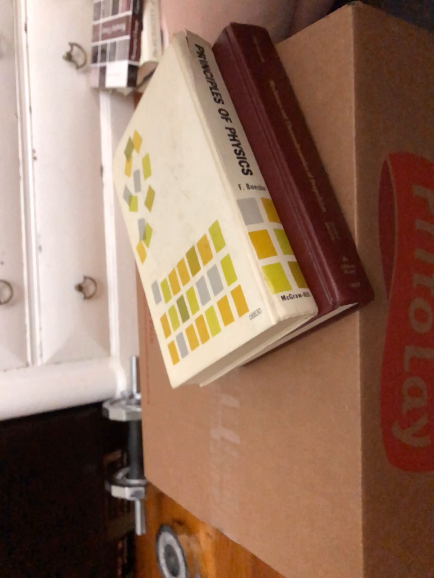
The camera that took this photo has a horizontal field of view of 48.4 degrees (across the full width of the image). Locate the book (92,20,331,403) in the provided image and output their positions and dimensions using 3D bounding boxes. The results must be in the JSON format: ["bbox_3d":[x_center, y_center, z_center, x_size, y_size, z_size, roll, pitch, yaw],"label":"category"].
[{"bbox_3d":[-0.028,-0.053,0.405,0.181,0.040,0.250,-40,63,49],"label":"book"}]

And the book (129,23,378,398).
[{"bbox_3d":[0.008,-0.052,0.411,0.181,0.040,0.250,-36,66,50],"label":"book"}]
